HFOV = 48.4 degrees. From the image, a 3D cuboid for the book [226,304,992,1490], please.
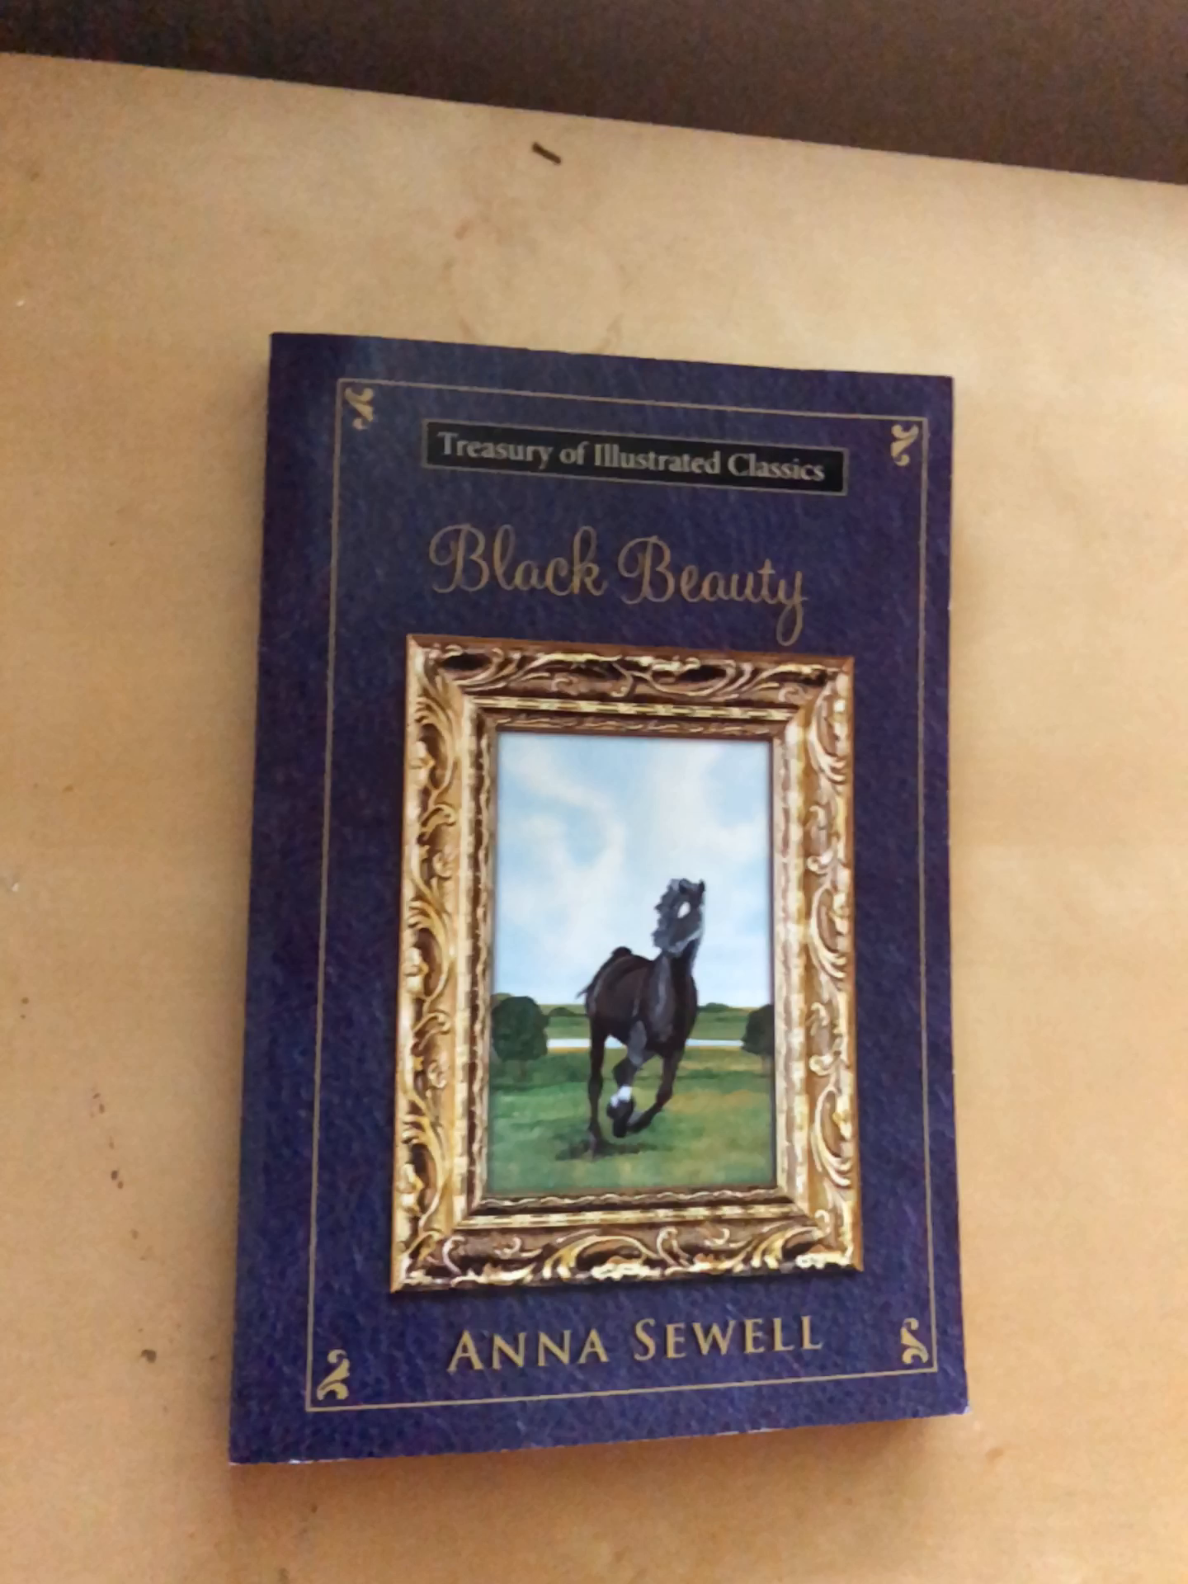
[{"bbox_3d":[0.004,0.015,0.237,0.126,0.025,0.193,2,83,-9],"label":"book"}]
